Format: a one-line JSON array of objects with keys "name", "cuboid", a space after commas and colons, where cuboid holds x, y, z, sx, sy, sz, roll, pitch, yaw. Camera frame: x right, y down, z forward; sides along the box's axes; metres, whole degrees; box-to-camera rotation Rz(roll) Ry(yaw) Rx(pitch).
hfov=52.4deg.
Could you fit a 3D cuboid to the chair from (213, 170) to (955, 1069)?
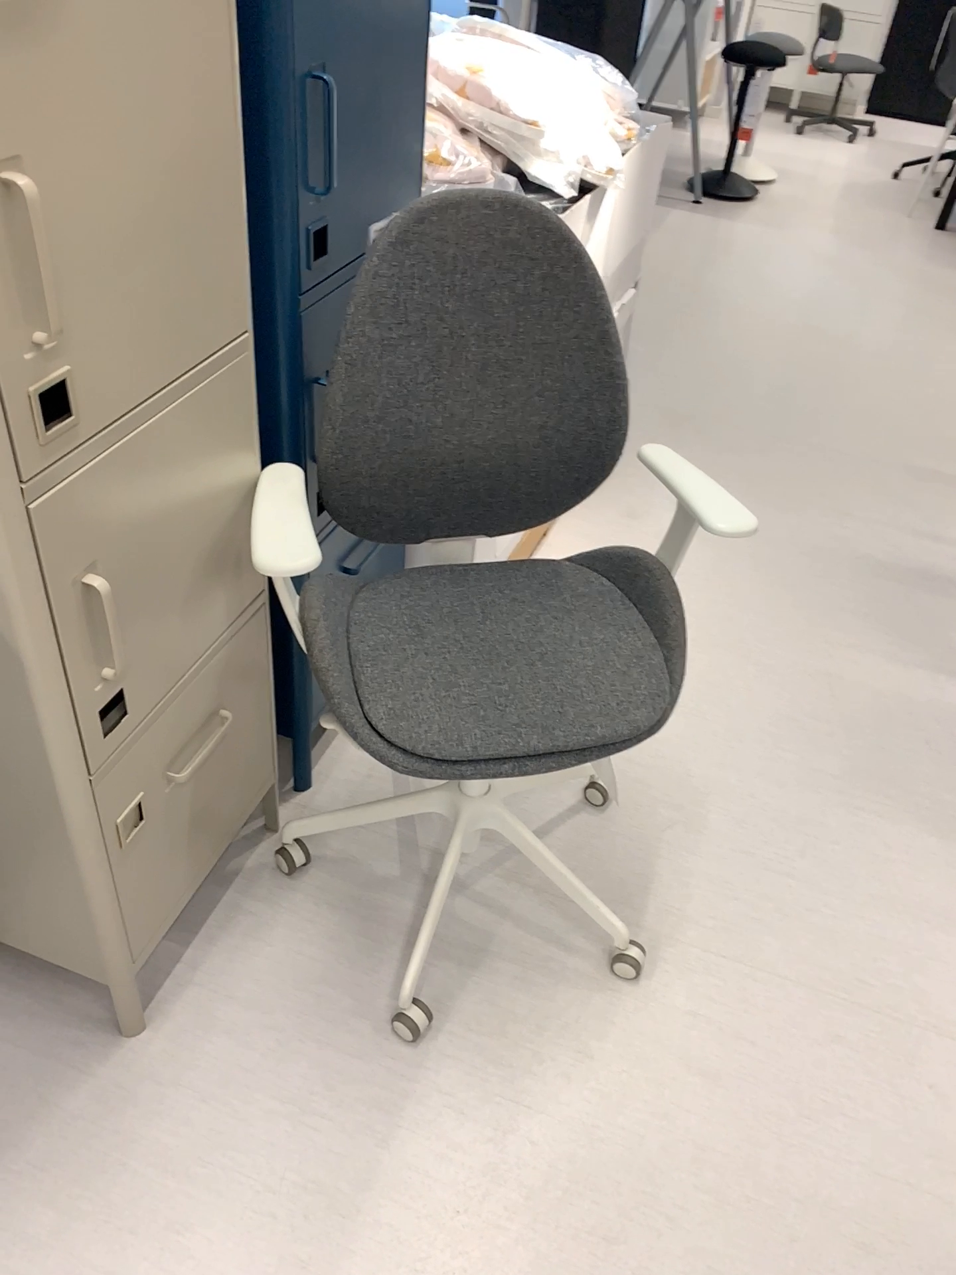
[{"name": "chair", "cuboid": [0.022, -0.025, 1.377, 0.650, 0.996, 0.672, -6, 41, -15]}]
